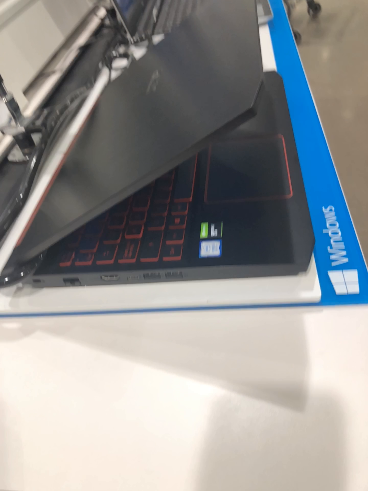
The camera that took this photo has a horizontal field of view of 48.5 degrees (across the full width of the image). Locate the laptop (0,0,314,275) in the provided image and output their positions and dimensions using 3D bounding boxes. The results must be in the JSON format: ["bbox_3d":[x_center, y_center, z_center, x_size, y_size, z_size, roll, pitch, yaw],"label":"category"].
[{"bbox_3d":[-0.018,-0.142,0.402,0.218,0.121,0.346,-4,43,9],"label":"laptop"}]
